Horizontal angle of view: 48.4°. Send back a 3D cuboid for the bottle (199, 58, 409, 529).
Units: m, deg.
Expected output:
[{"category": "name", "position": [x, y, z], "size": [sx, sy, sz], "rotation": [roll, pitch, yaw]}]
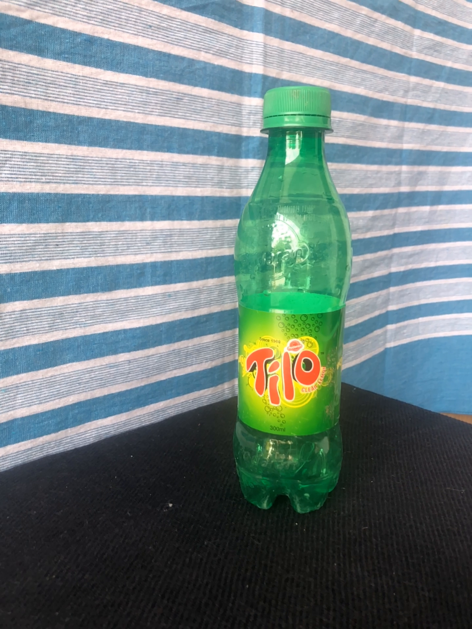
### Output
[{"category": "bottle", "position": [0.023, -0.006, 0.258], "size": [0.070, 0.199, 0.070], "rotation": [4, 11, -1]}]
